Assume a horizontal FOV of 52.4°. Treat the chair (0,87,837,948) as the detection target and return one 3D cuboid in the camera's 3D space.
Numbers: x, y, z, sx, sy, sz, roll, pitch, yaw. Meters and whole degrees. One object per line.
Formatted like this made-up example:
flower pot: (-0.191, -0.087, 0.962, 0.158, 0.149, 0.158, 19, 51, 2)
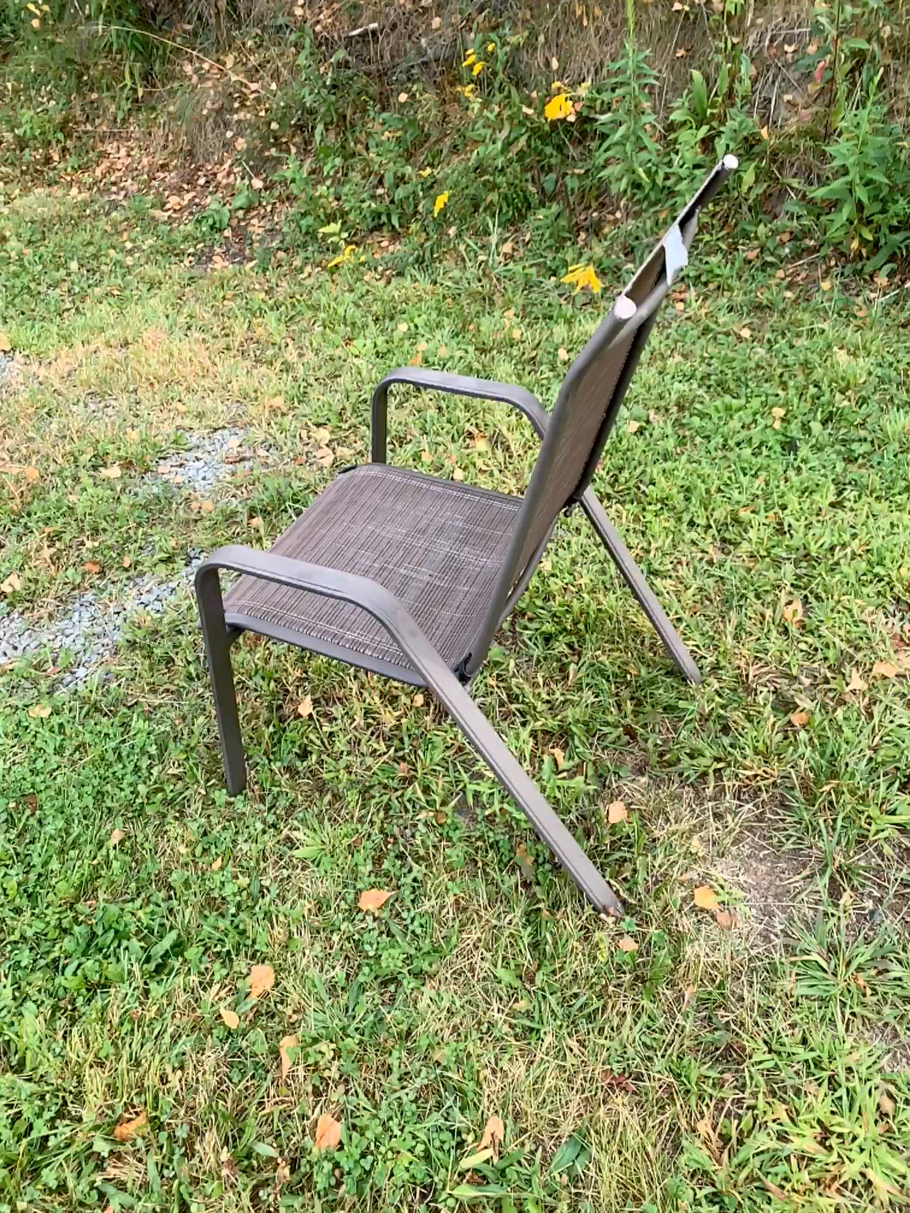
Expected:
chair: (0.007, -0.143, 1.309, 0.741, 0.875, 0.623, 15, 44, 18)
